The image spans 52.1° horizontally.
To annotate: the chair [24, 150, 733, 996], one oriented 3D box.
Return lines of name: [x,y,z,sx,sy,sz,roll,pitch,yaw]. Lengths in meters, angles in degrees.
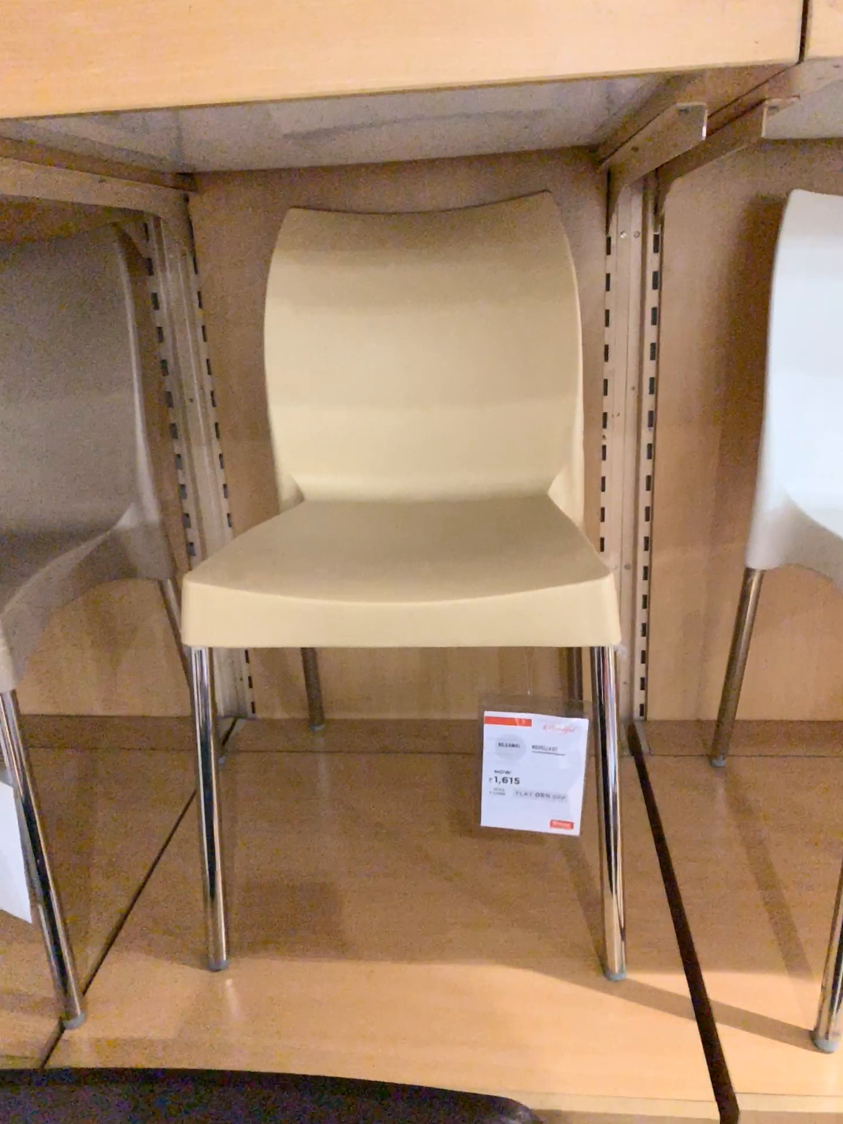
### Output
chair: [-0.018,-0.029,1.066,0.540,0.807,0.592,1,20,3]
